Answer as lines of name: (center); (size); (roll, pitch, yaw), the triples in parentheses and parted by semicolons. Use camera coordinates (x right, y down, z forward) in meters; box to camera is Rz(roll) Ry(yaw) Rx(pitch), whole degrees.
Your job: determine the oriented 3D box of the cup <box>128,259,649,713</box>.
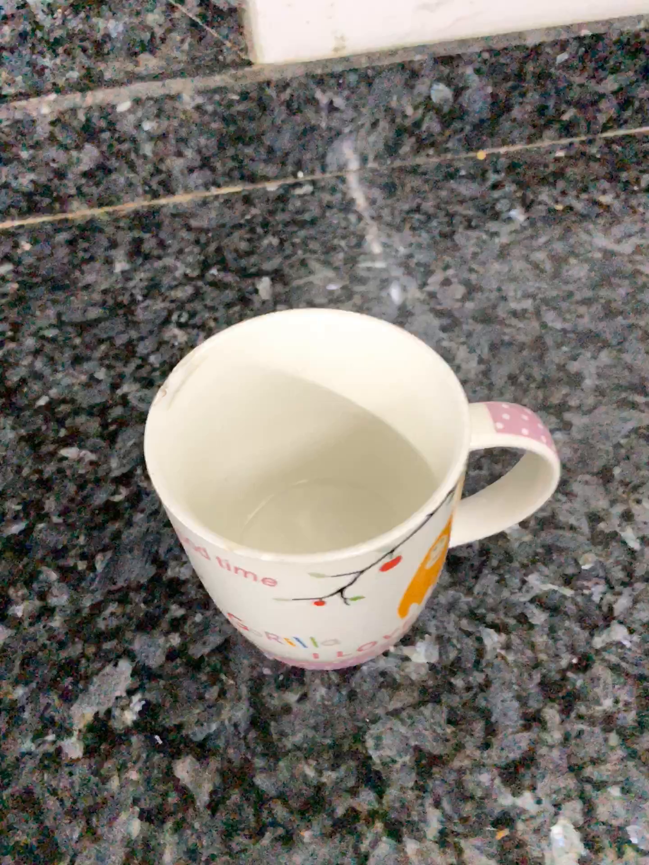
cup: (0.015, 0.018, 0.202); (0.120, 0.089, 0.081); (-9, 52, -3)
